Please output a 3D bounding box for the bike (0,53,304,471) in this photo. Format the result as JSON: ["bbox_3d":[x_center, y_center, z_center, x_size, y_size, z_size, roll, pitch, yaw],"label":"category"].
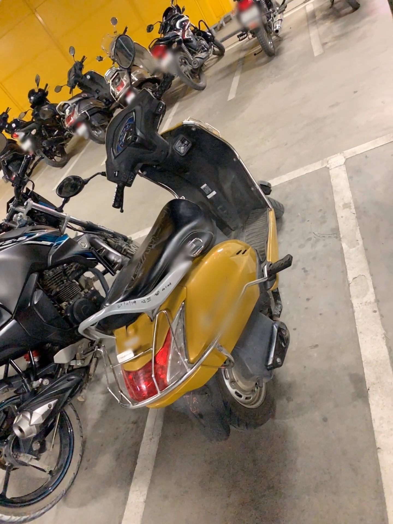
[{"bbox_3d":[-0.096,-0.120,1.746,0.570,0.992,1.526,-22,34,21],"label":"bike"}]
